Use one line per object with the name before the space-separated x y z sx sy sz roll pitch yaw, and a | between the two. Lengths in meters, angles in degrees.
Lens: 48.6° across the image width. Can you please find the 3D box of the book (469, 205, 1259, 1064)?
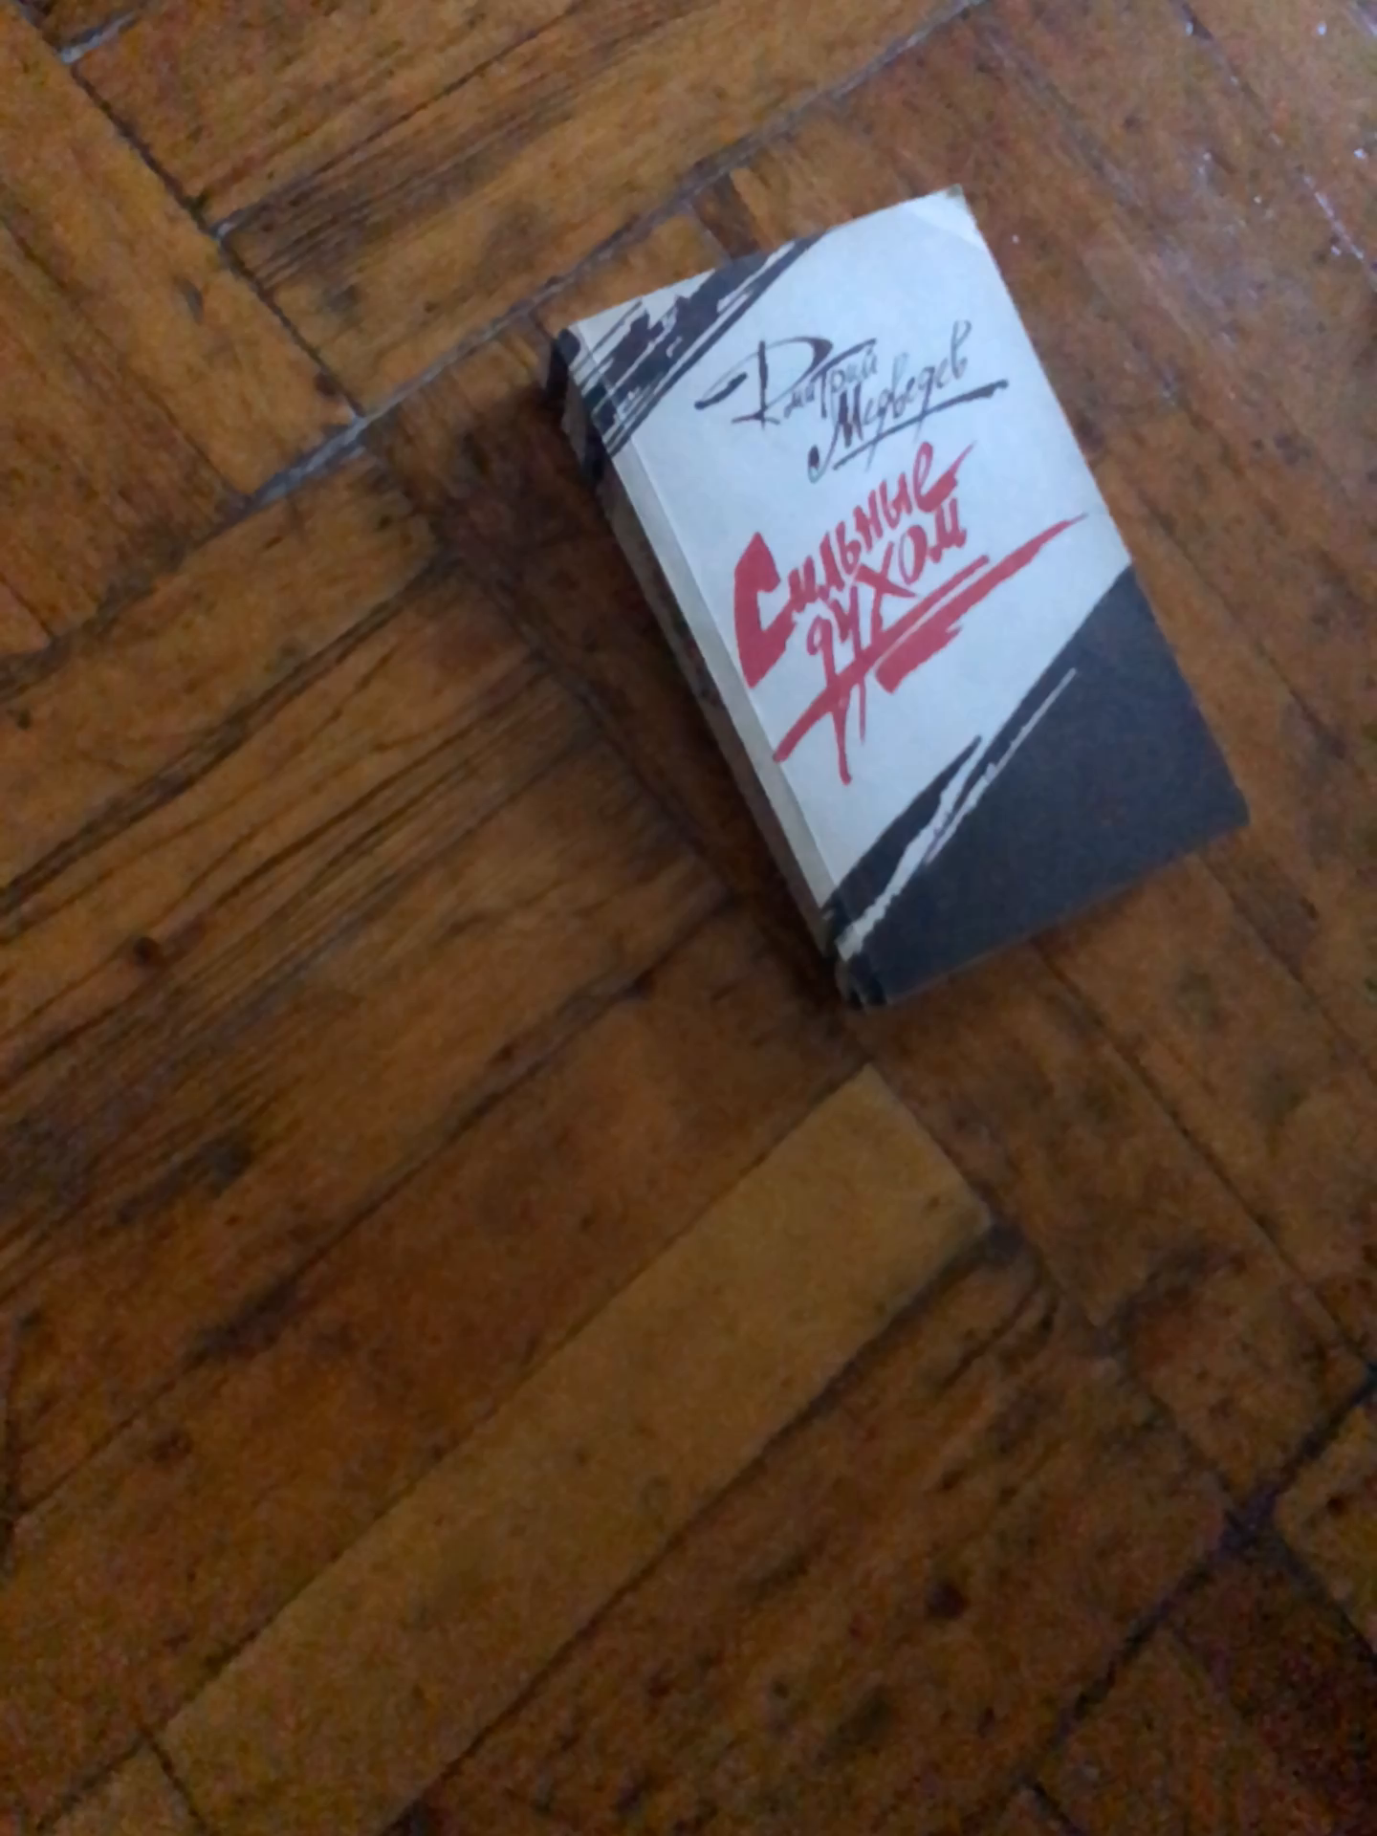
book | 0.052 -0.083 0.461 0.140 0.050 0.210 -33 91 -15
